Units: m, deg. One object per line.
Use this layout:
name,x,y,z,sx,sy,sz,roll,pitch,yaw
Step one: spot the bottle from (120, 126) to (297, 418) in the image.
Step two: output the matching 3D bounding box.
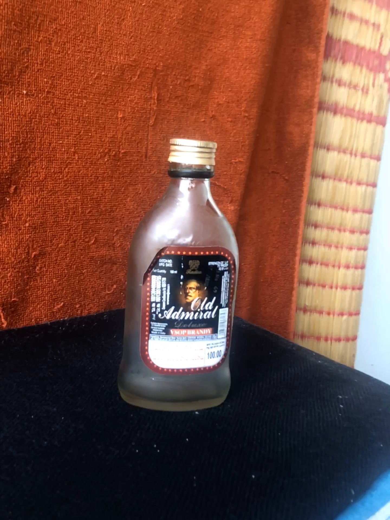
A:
bottle,0.001,0.007,0.244,0.070,0.150,0.050,4,14,-13
